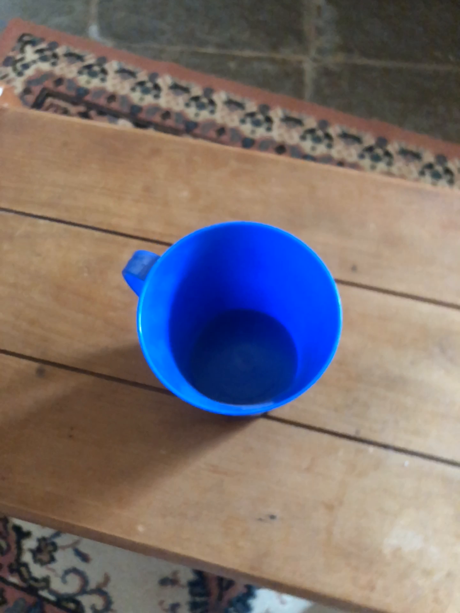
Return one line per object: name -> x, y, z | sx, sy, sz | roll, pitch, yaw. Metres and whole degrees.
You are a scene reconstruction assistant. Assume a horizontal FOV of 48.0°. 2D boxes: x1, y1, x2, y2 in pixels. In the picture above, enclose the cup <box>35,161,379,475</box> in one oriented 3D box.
cup -> -0.008, 0.013, 0.278 | 0.120, 0.100, 0.100 | 27, 74, 10
